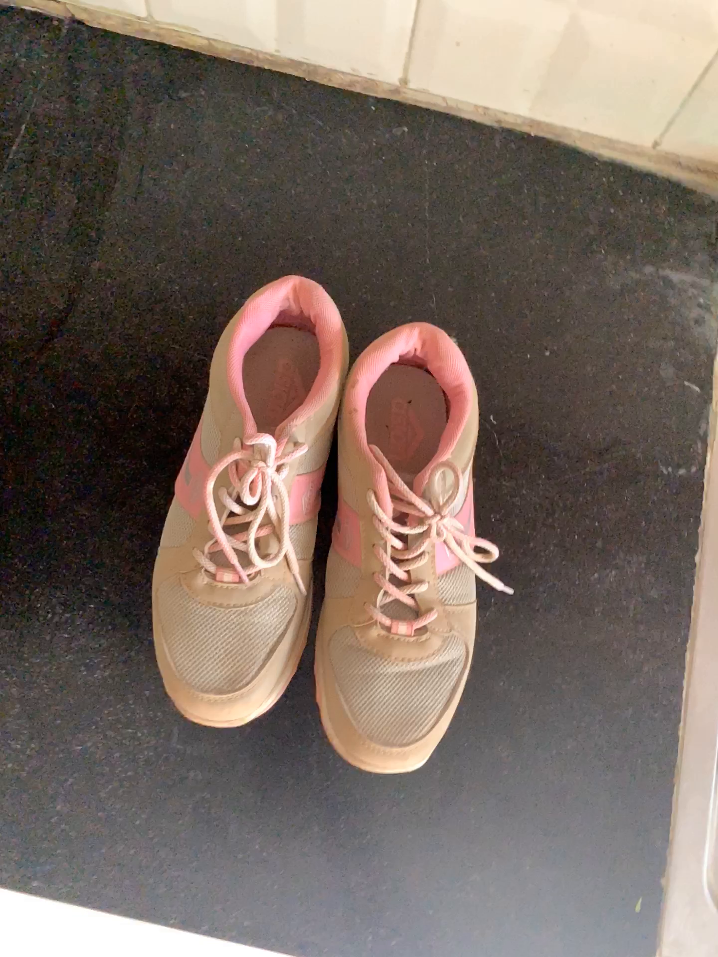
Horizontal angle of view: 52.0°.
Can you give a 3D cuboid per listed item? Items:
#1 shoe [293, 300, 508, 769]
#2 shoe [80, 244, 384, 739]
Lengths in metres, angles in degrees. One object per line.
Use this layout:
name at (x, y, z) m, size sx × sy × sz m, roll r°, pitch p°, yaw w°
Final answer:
shoe at (0.022, 0.032, 0.417) m, size 0.090 × 0.100 × 0.230 m, roll 6°, pitch 75°, yaw -2°
shoe at (-0.060, 0.009, 0.416) m, size 0.100 × 0.100 × 0.240 m, roll 11°, pitch 74°, yaw -1°
